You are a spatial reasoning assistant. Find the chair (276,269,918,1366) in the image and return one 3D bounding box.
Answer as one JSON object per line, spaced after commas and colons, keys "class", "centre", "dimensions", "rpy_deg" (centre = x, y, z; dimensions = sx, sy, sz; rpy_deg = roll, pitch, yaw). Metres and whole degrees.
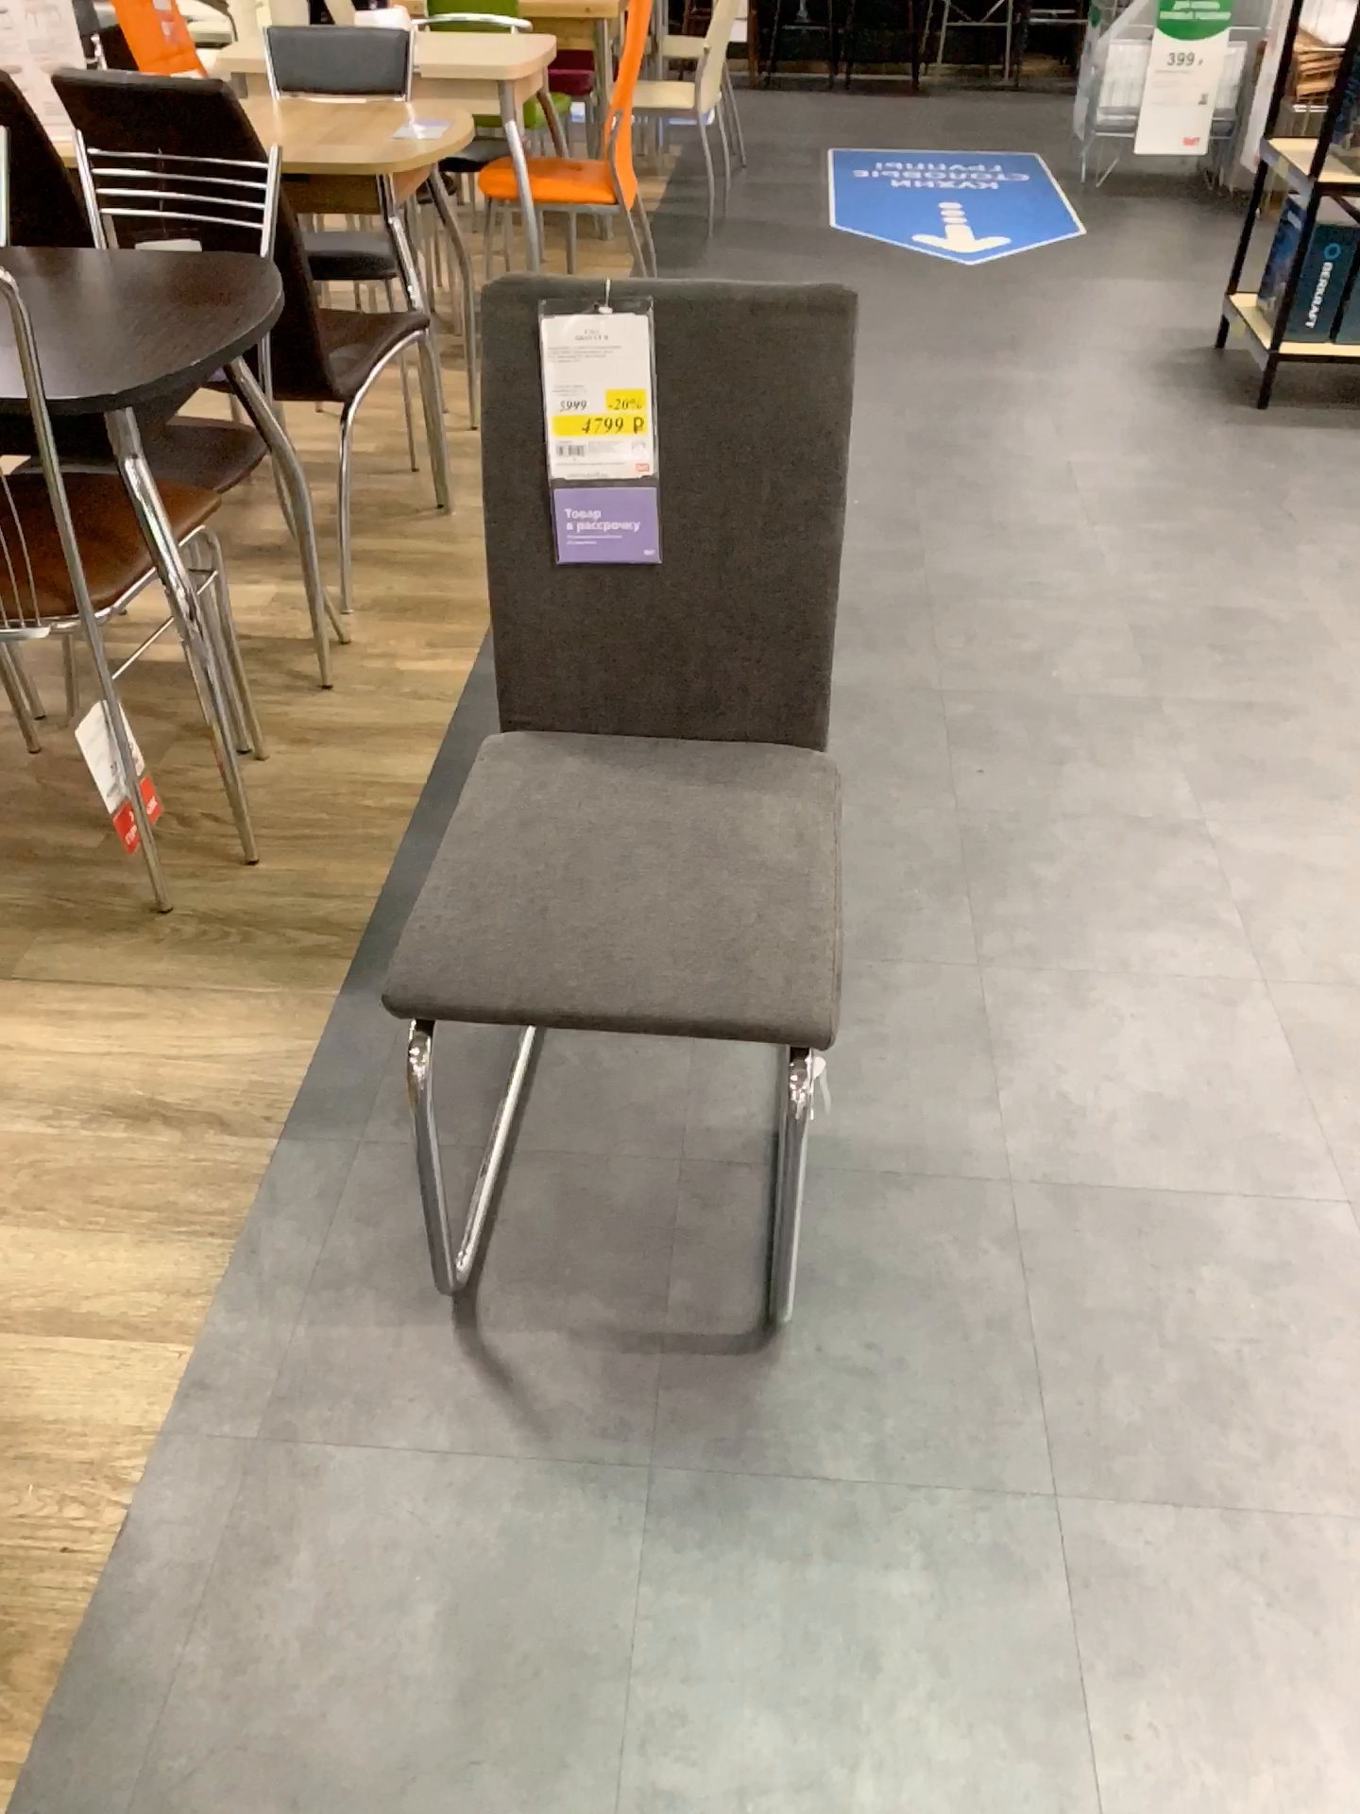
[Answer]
{"class": "chair", "centre": [-0.040, -0.066, 1.446], "dimensions": [0.435, 0.974, 0.542], "rpy_deg": [4, 38, 4]}
